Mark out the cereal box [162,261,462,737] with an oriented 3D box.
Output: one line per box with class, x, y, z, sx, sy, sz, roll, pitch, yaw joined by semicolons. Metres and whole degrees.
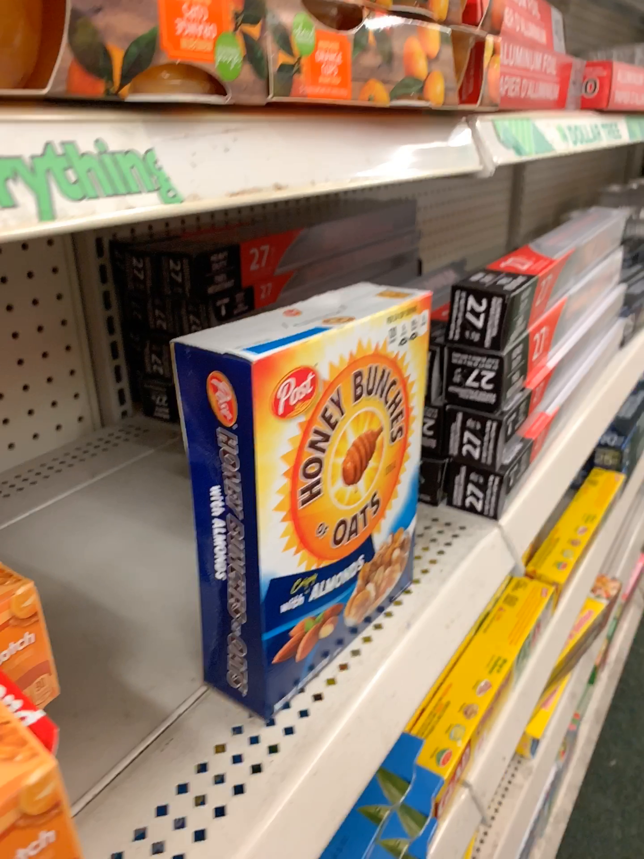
cereal box;0.005;0.025;0.340;0.050;0.189;0.150;18;31;35
